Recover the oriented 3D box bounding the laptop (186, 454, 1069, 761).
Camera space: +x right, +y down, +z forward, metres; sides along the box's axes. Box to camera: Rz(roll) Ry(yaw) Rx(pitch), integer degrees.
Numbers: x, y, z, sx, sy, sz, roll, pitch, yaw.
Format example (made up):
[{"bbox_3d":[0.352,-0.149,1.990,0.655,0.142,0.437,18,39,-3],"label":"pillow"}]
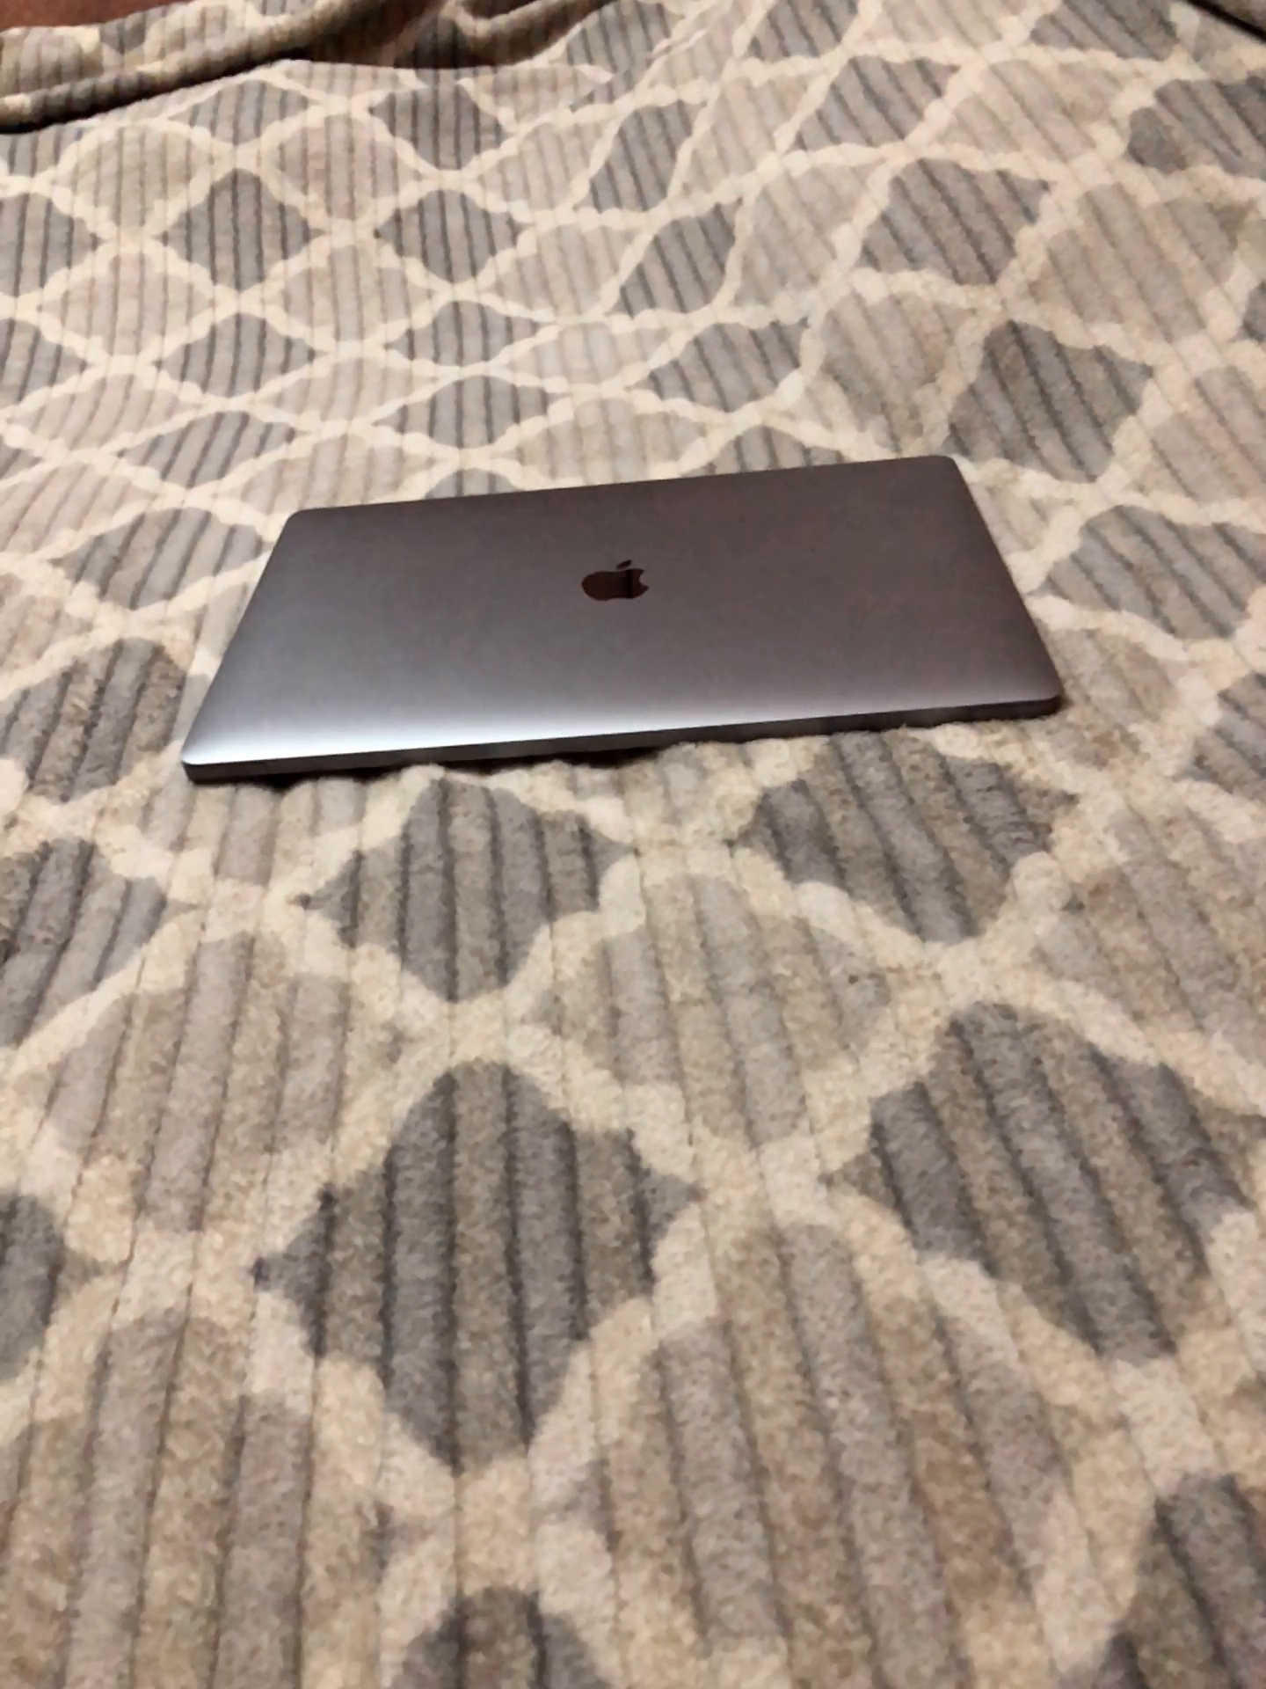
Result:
[{"bbox_3d":[-0.007,-0.122,0.663,0.358,0.007,0.247,-4,37,3],"label":"laptop"}]
